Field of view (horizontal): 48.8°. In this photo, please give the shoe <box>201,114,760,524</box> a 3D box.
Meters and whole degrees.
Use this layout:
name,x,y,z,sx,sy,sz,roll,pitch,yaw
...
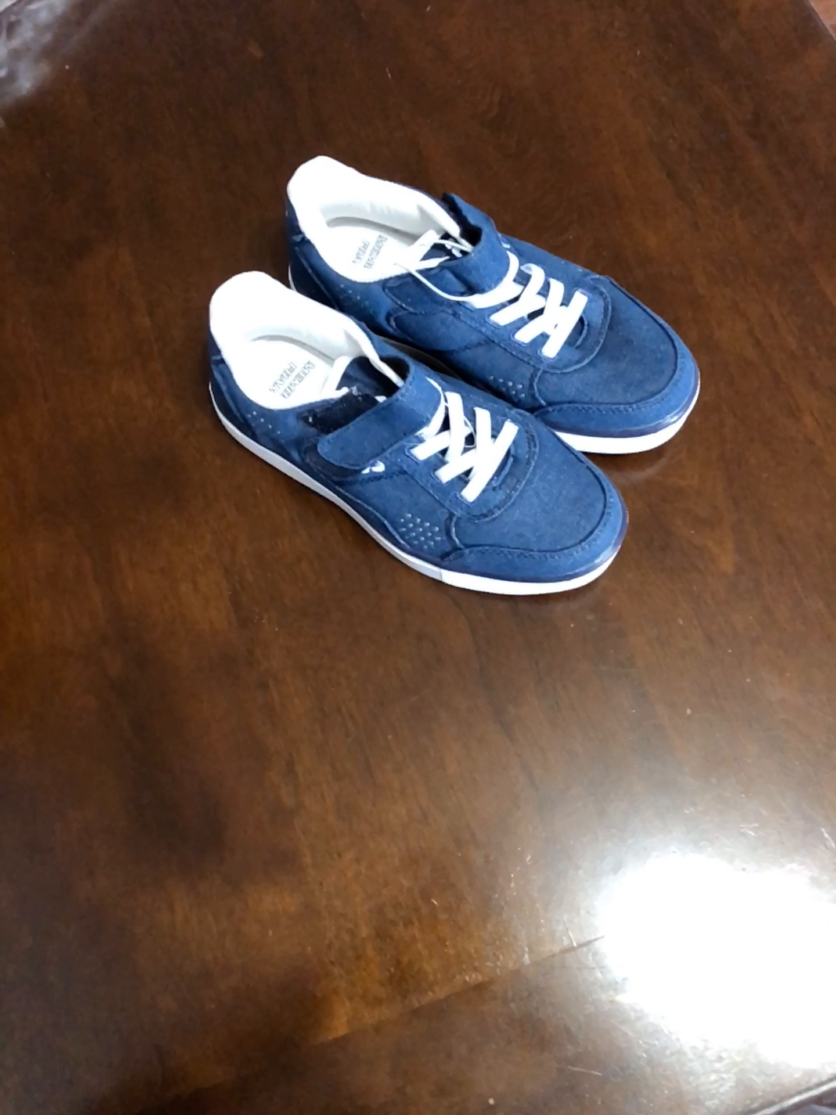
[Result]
name,x,y,z,sx,sy,sz,roll,pitch,yaw
shoe,0.028,-0.120,0.467,0.240,0.080,0.100,24,75,11

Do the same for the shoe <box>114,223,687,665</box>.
name,x,y,z,sx,sy,sz,roll,pitch,yaw
shoe,-0.010,-0.054,0.443,0.240,0.080,0.090,28,76,12
